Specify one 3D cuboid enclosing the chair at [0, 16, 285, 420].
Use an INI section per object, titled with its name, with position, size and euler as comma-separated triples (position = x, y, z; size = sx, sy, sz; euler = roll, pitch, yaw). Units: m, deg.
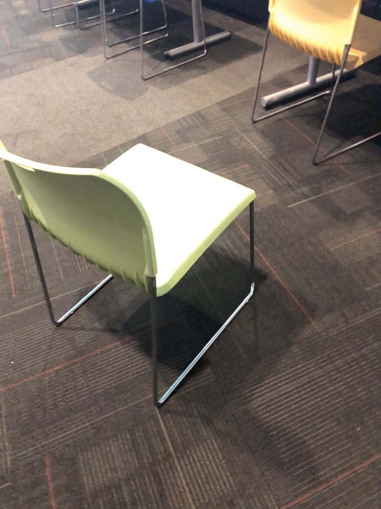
[chair]
position = -0.160, -0.091, 1.120
size = 0.542, 0.756, 0.541
euler = 29, 56, 29
